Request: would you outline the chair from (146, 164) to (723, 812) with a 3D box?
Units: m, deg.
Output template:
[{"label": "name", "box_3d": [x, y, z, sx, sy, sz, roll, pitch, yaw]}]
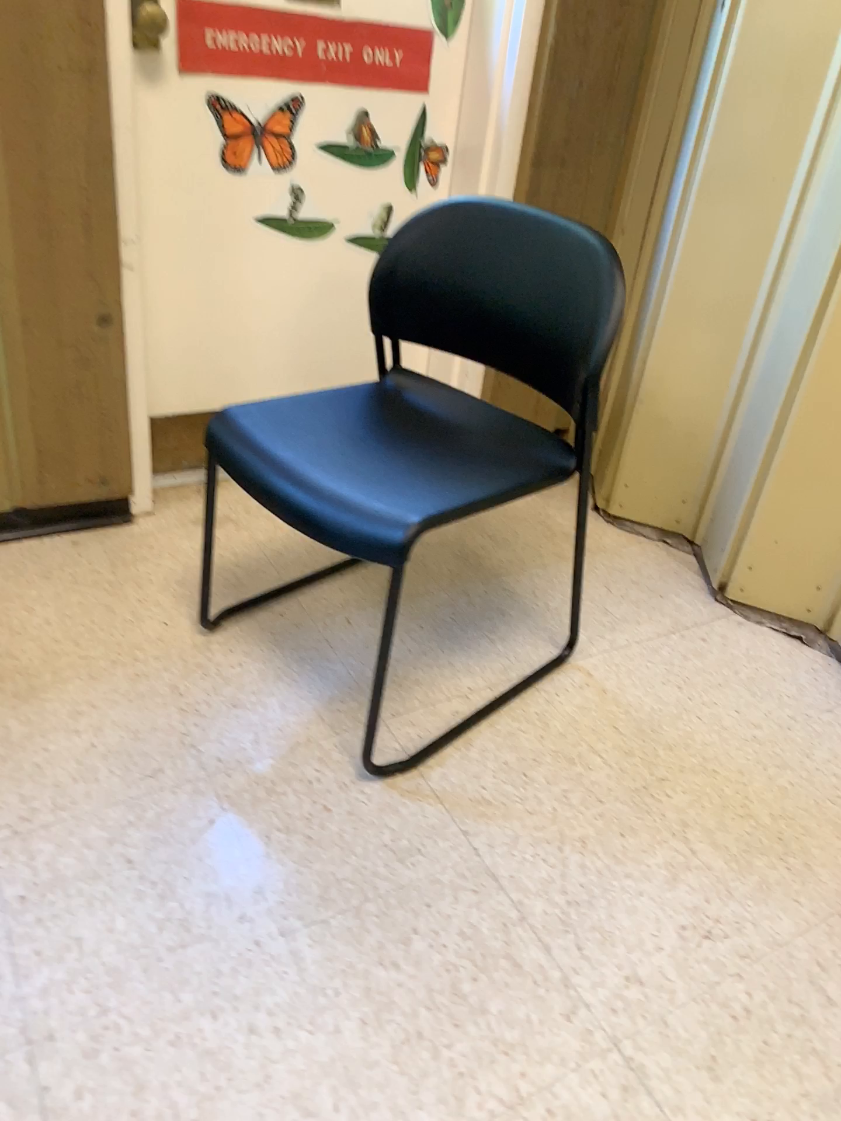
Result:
[{"label": "chair", "box_3d": [-0.010, -0.182, 1.455, 0.582, 0.795, 0.622, 30, 38, 32]}]
